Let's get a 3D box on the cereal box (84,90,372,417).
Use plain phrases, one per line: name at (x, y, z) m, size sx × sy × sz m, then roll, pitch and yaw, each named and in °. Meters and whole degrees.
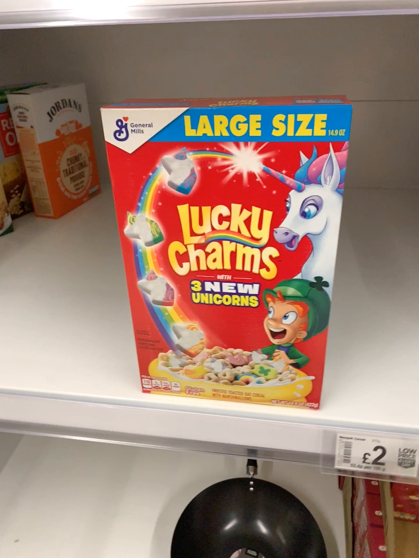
cereal box at (0.018, -0.014, 0.412) m, size 0.210 × 0.297 × 0.071 m, roll 3°, pitch 28°, yaw 9°
